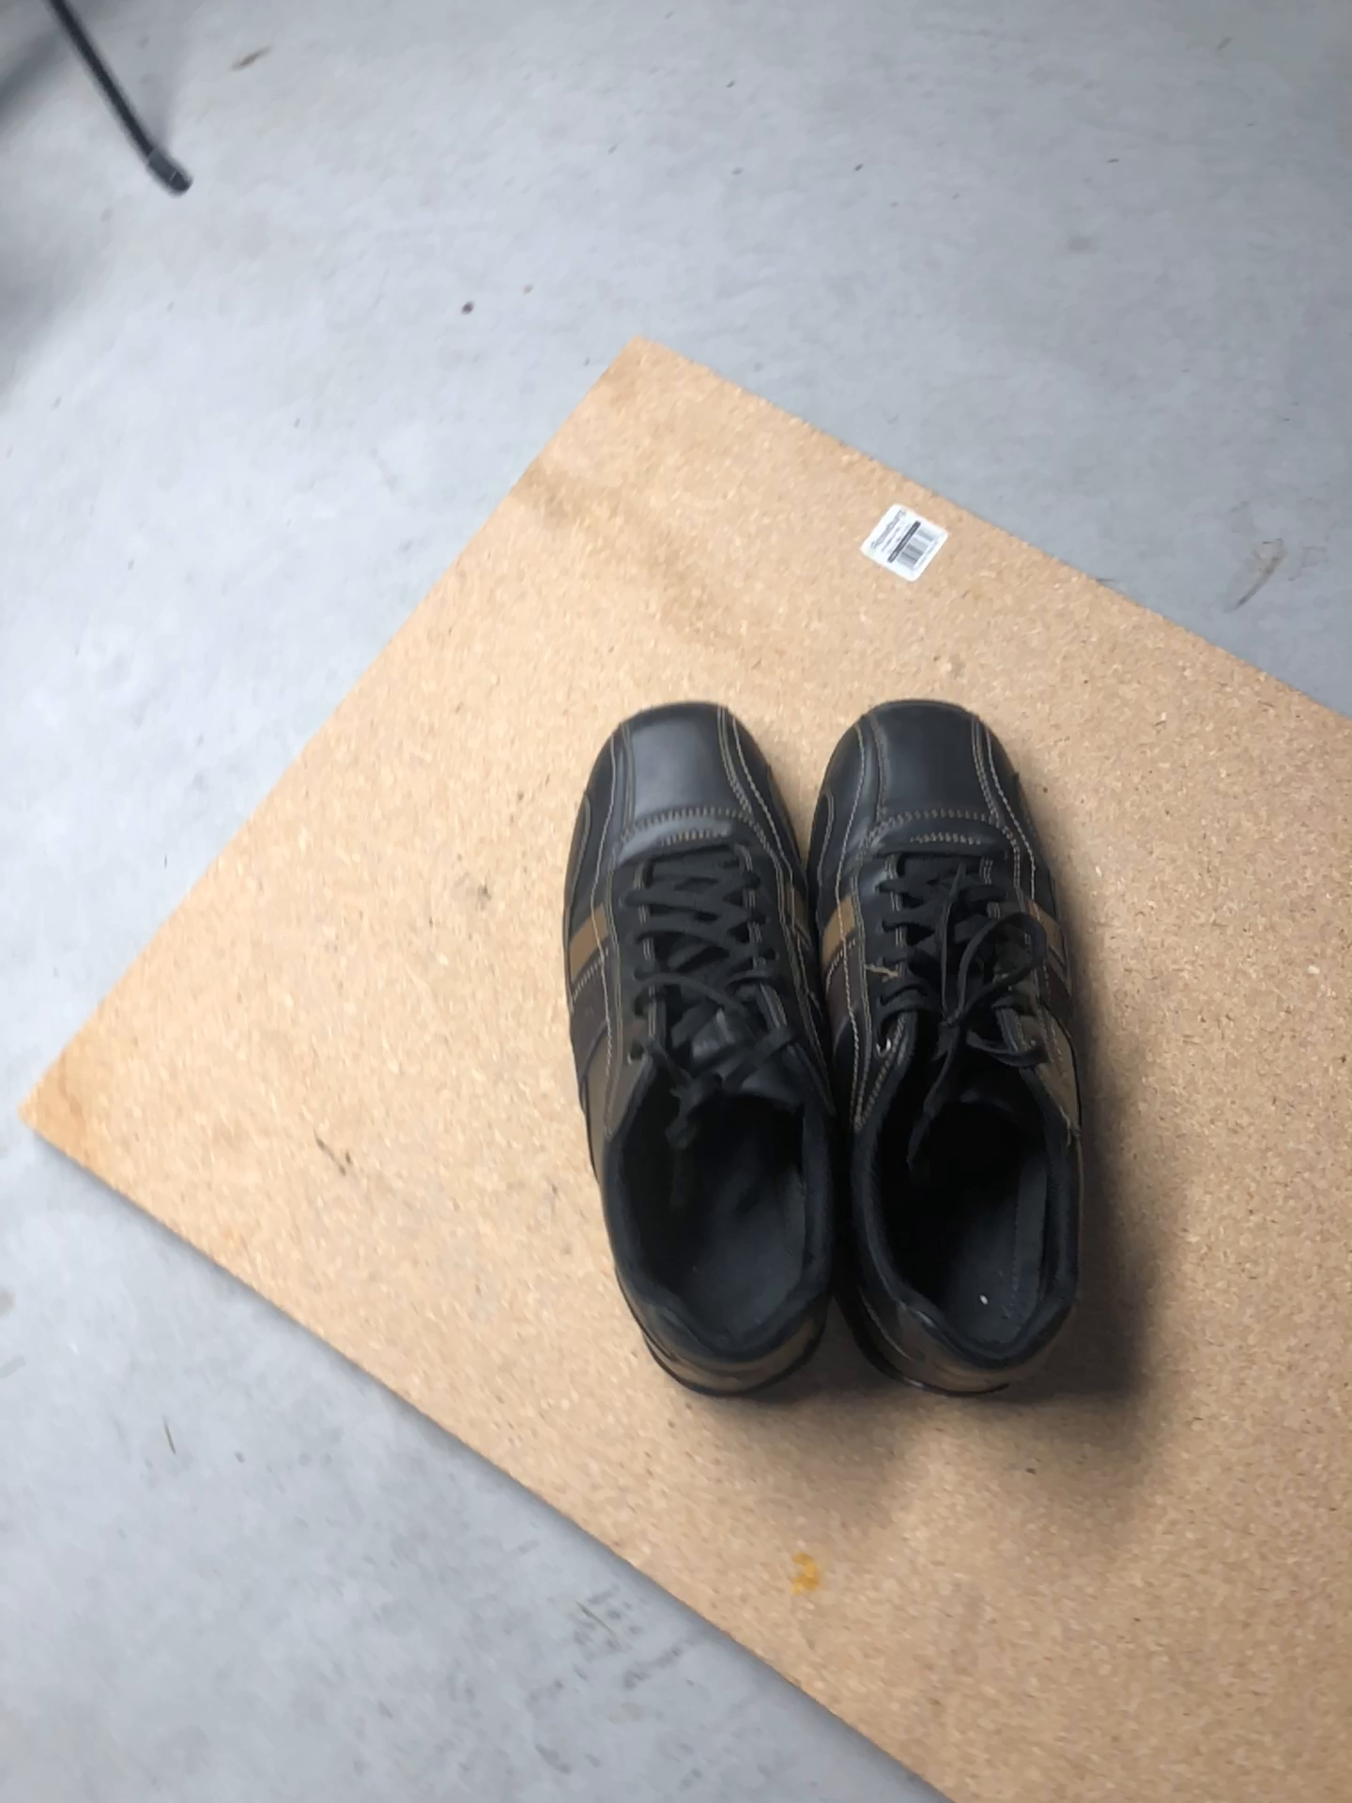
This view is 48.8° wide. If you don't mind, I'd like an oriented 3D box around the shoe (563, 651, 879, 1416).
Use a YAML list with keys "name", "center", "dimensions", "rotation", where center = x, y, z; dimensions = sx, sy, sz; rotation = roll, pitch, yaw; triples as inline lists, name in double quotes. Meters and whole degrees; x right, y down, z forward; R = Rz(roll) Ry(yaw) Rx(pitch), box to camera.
- name: "shoe"
  center: [0.011, 0.053, 0.629]
  dimensions: [0.100, 0.100, 0.300]
  rotation: [-3, 68, -2]

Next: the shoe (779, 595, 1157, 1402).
- name: "shoe"
  center: [0.107, 0.039, 0.586]
  dimensions: [0.100, 0.100, 0.290]
  rotation: [-6, 72, 8]
